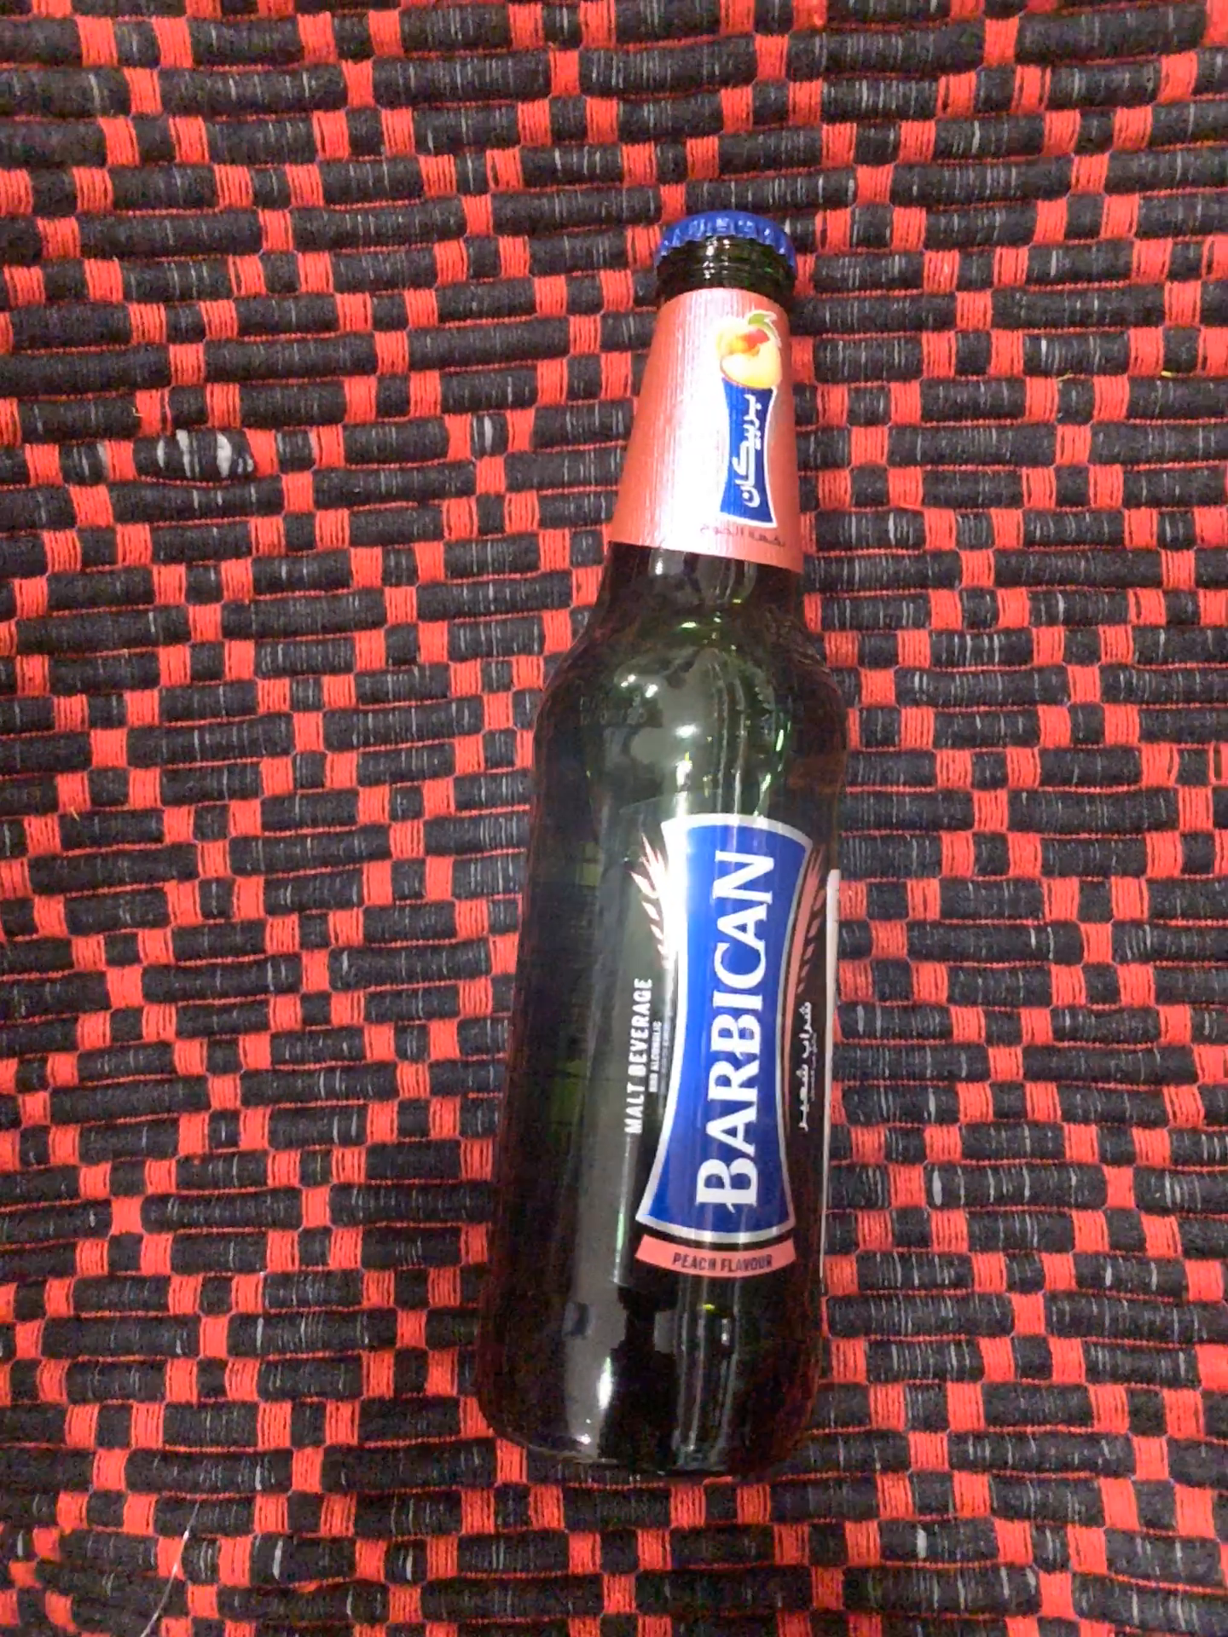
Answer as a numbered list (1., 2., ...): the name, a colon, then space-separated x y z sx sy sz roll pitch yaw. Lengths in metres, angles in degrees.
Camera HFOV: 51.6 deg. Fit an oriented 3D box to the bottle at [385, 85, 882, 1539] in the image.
1. bottle: 0.007 -0.006 0.223 0.050 0.050 0.220 -5 77 43
